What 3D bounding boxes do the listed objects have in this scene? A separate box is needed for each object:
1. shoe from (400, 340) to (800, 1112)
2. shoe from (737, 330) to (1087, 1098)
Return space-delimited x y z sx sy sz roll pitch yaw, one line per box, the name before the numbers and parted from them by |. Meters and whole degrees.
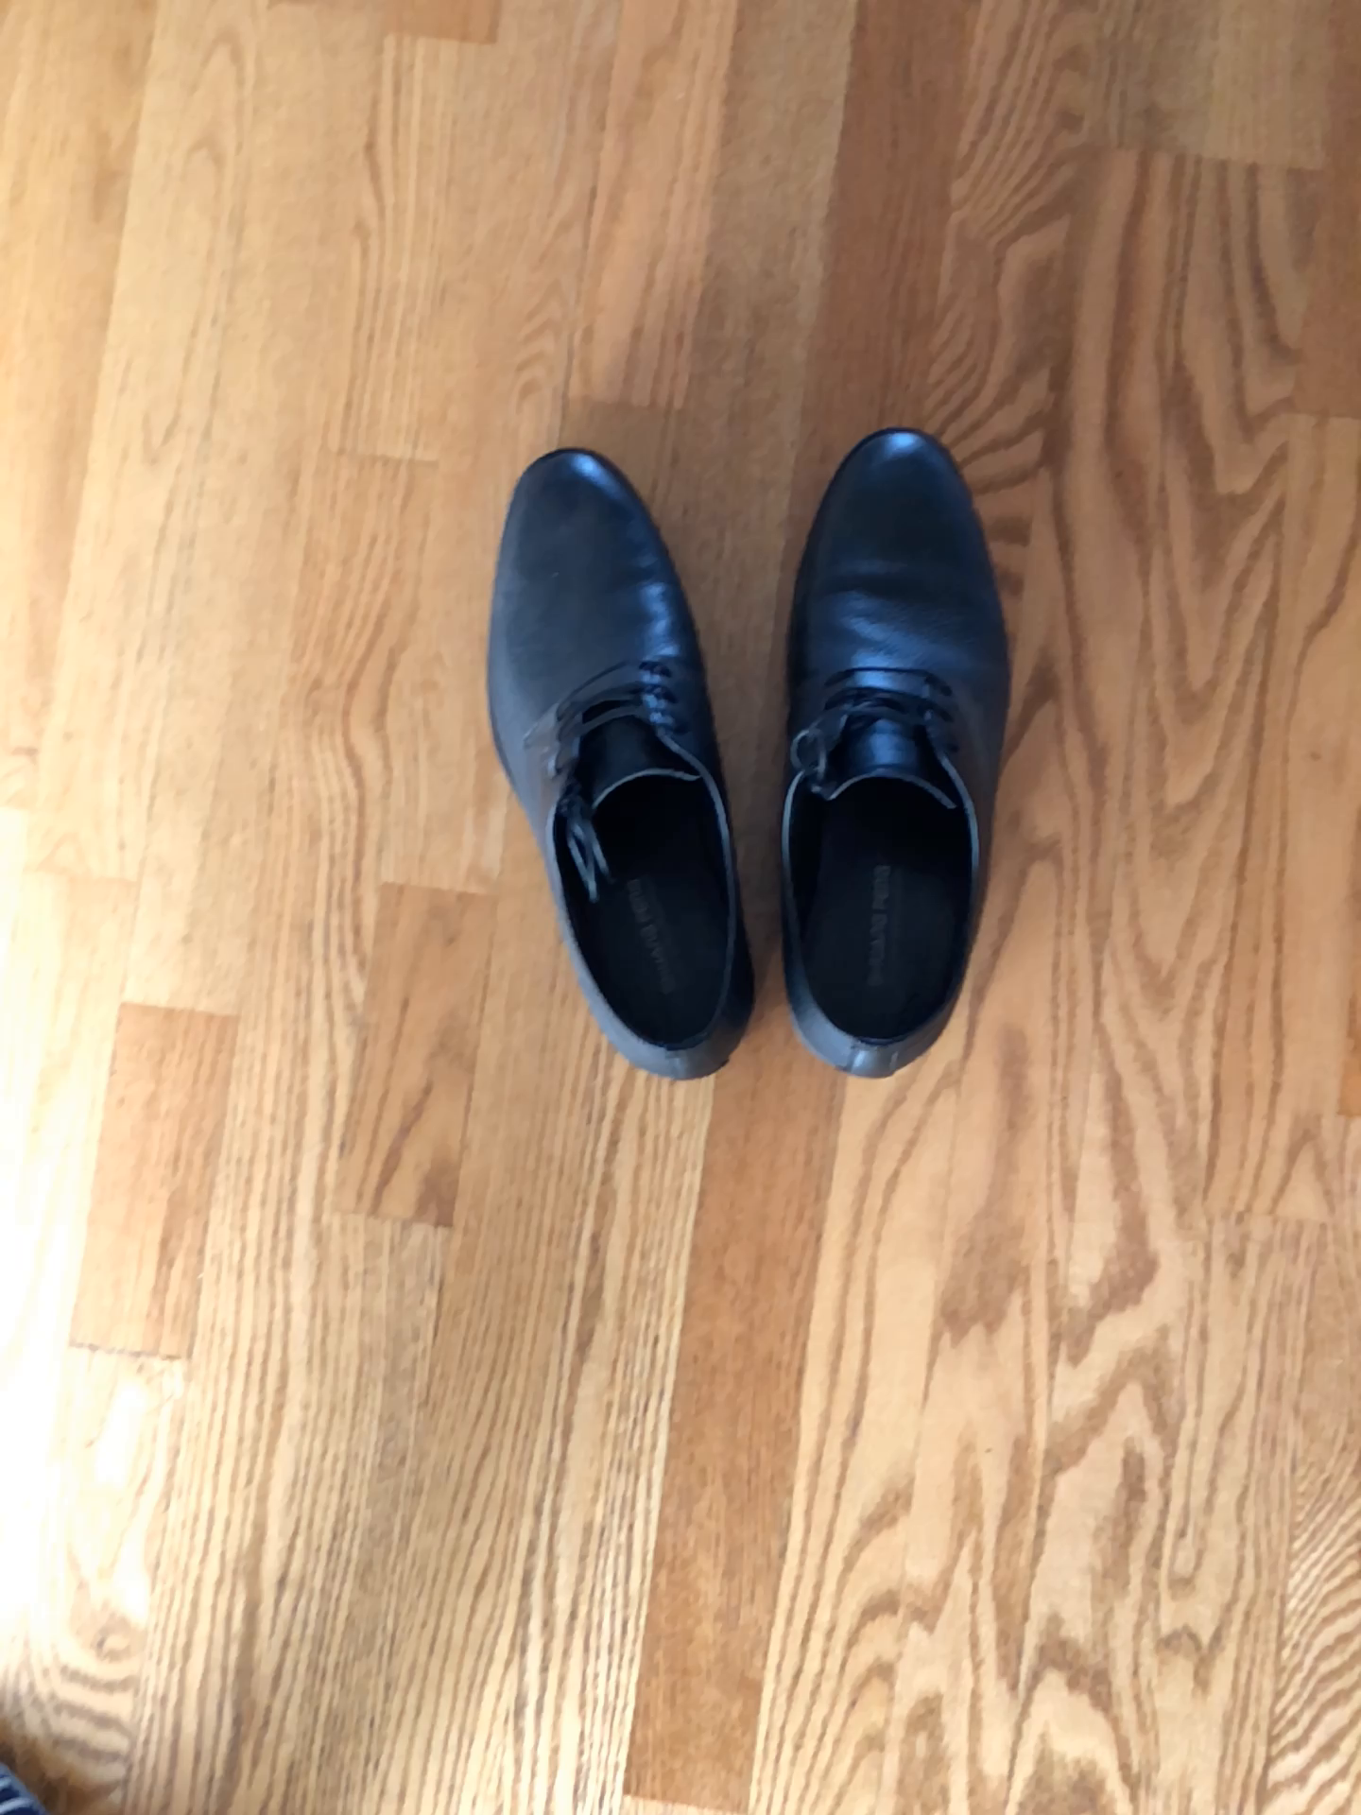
shoe | -0.033 -0.072 0.672 0.110 0.124 0.304 -11 85 1
shoe | 0.095 -0.075 0.655 0.110 0.124 0.299 6 85 3
